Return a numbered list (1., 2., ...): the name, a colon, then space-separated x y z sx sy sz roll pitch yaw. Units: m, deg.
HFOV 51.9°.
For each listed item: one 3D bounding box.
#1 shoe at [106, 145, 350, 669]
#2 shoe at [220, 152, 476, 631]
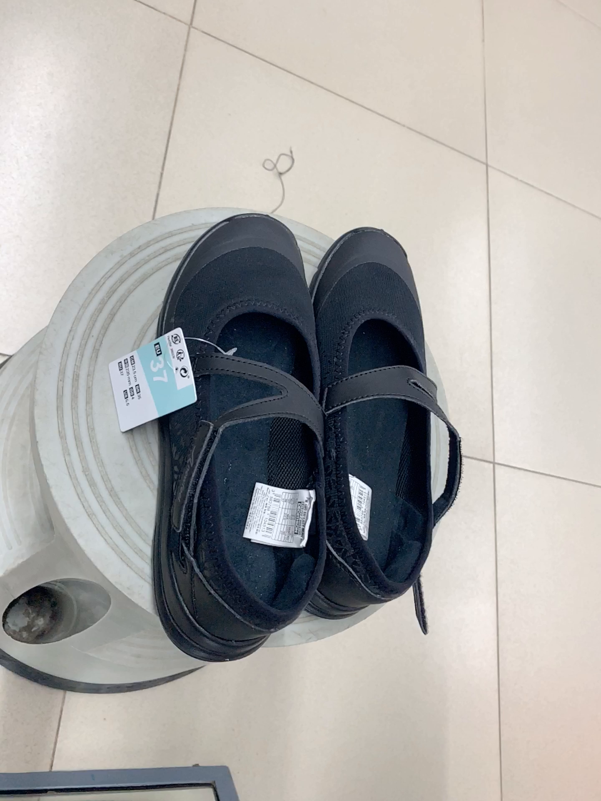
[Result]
1. shoe: -0.034 0.004 0.333 0.090 0.080 0.250 11 70 -24
2. shoe: 0.034 -0.004 0.366 0.100 0.080 0.250 17 67 -22
